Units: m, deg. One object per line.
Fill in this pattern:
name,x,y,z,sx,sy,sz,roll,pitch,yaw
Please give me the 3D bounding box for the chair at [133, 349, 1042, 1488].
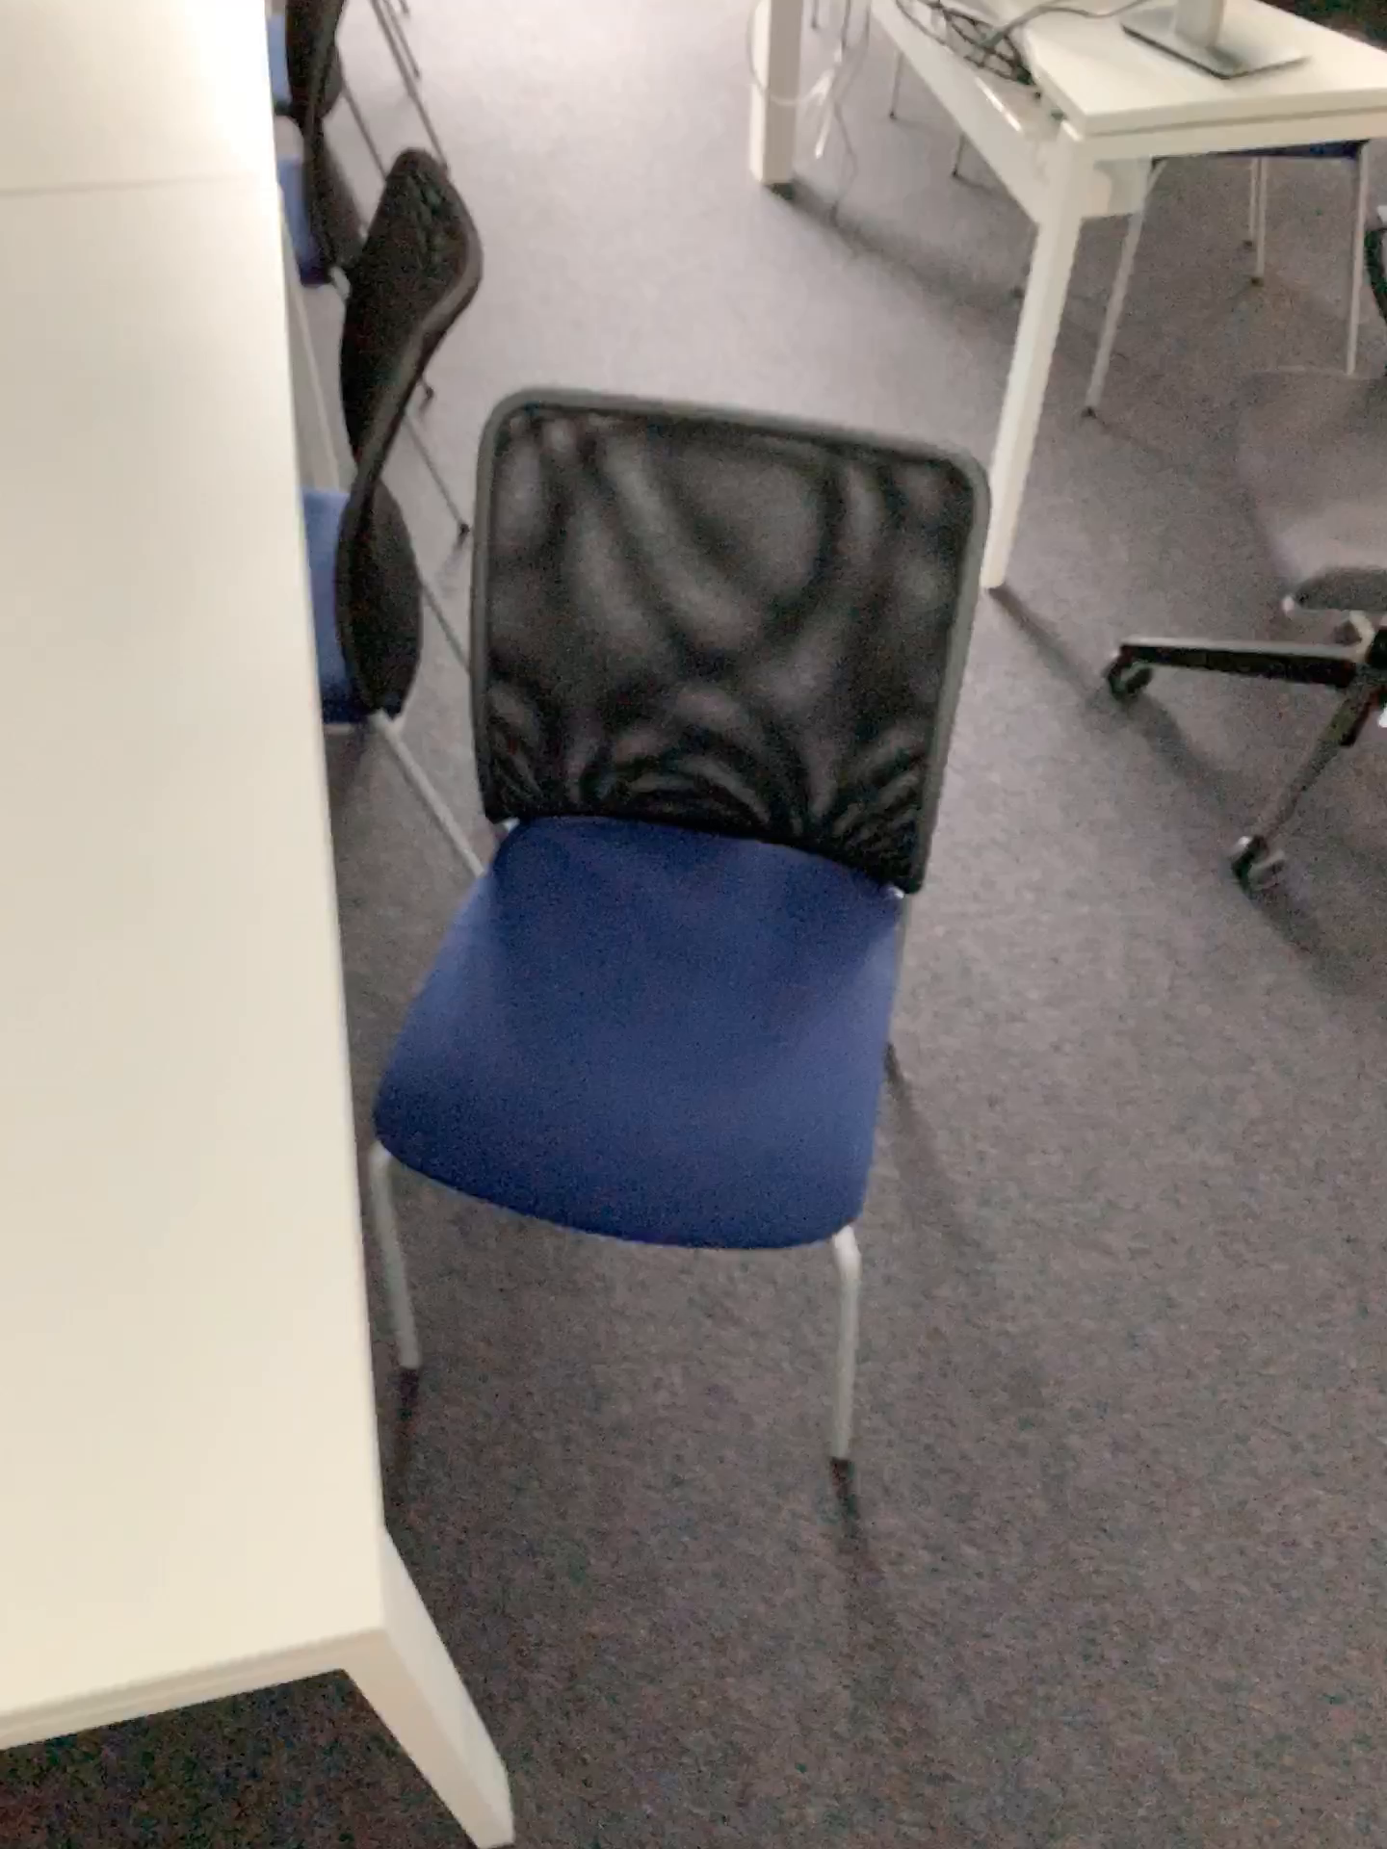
chair,-0.038,0.045,1.399,0.540,0.896,0.603,9,51,6
